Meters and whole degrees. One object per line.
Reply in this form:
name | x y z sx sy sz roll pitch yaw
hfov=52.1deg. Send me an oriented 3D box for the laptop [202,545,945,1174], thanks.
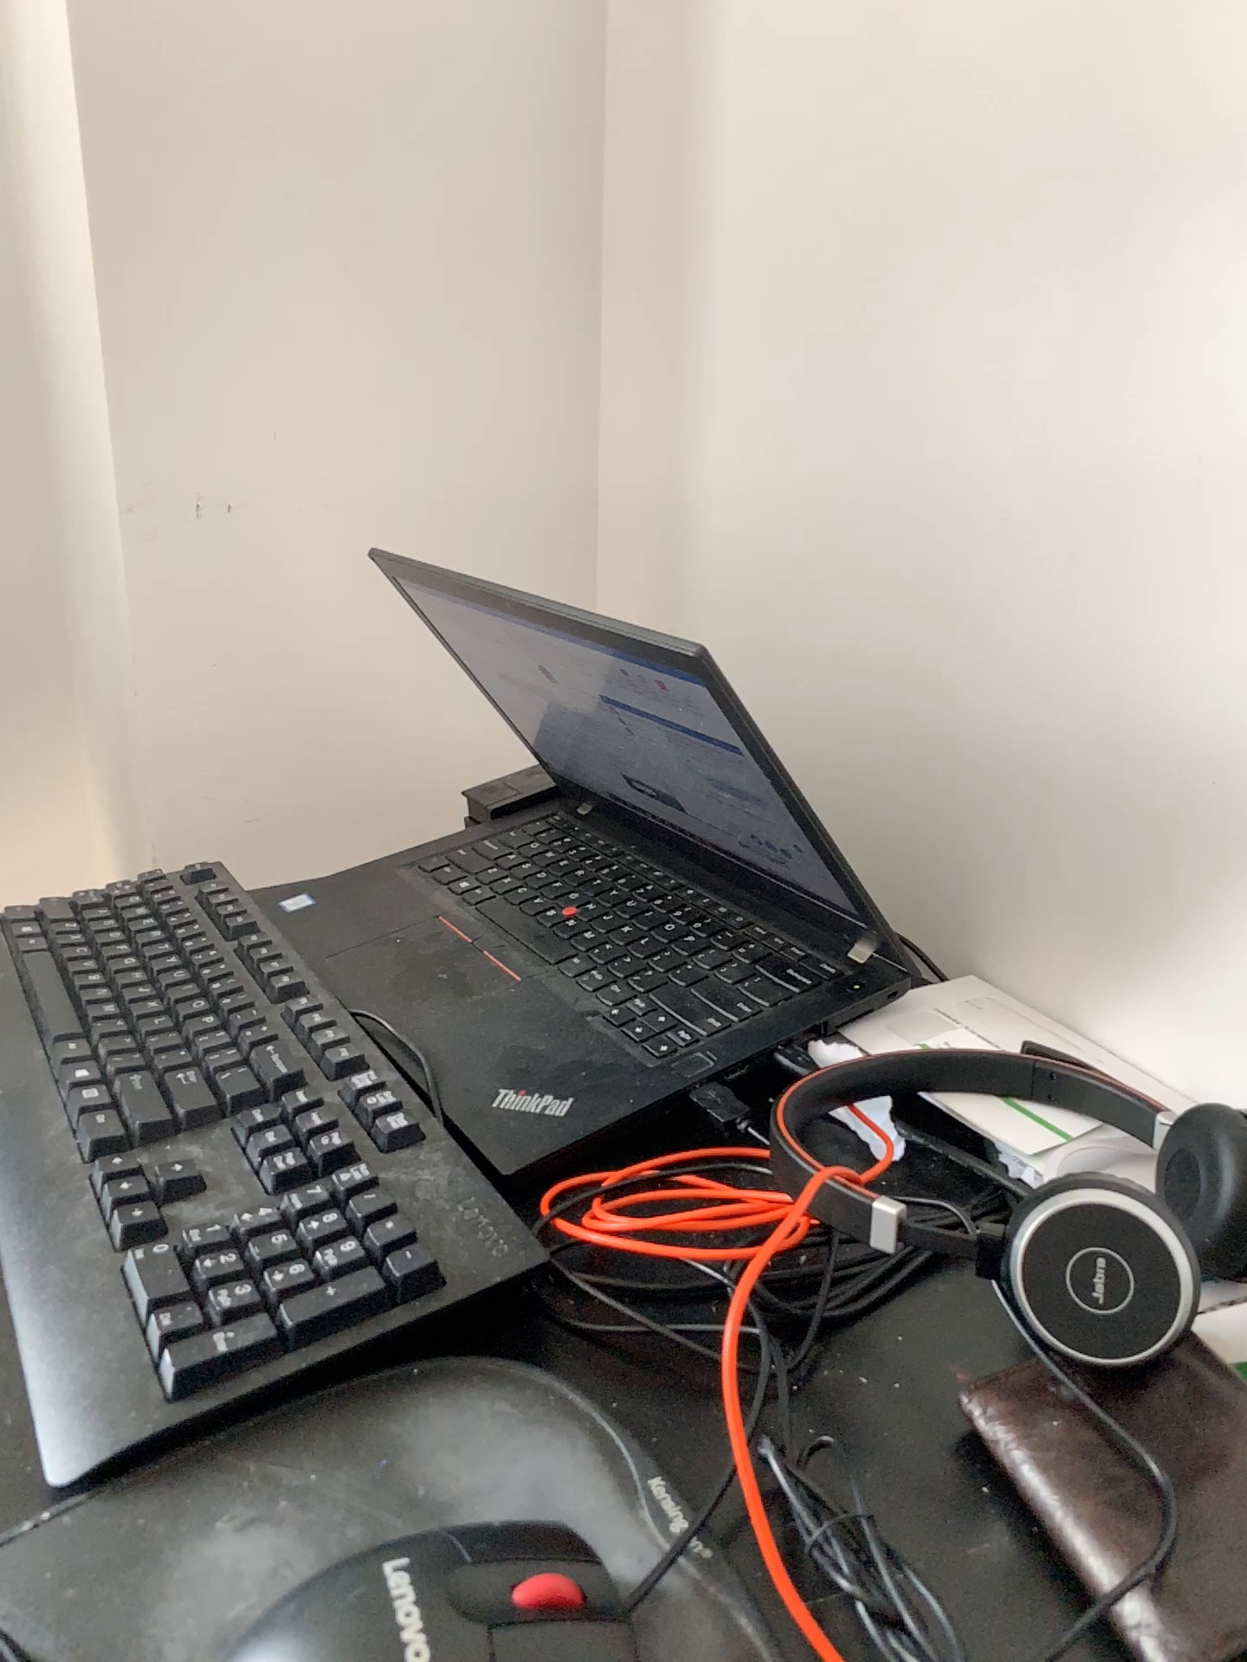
laptop | -0.049 -0.024 0.676 0.237 0.172 0.335 -17 25 -30
